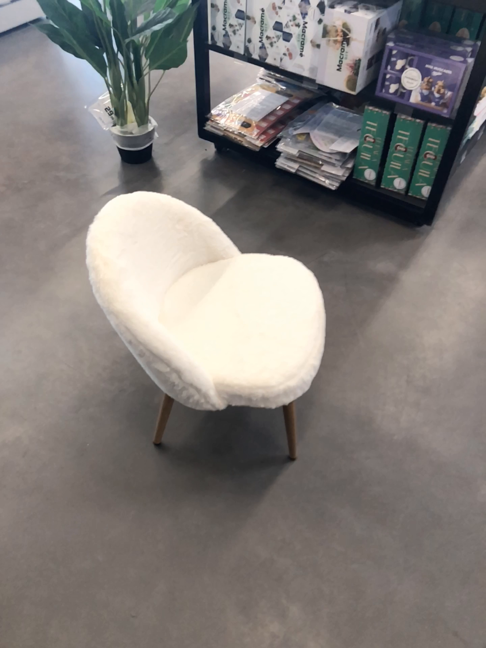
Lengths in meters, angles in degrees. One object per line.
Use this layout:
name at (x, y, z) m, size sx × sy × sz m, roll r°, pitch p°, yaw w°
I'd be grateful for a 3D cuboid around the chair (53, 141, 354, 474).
chair at (-0.046, -0.029, 1.170) m, size 0.470 × 0.537 × 0.413 m, roll 9°, pitch 46°, yaw 7°
